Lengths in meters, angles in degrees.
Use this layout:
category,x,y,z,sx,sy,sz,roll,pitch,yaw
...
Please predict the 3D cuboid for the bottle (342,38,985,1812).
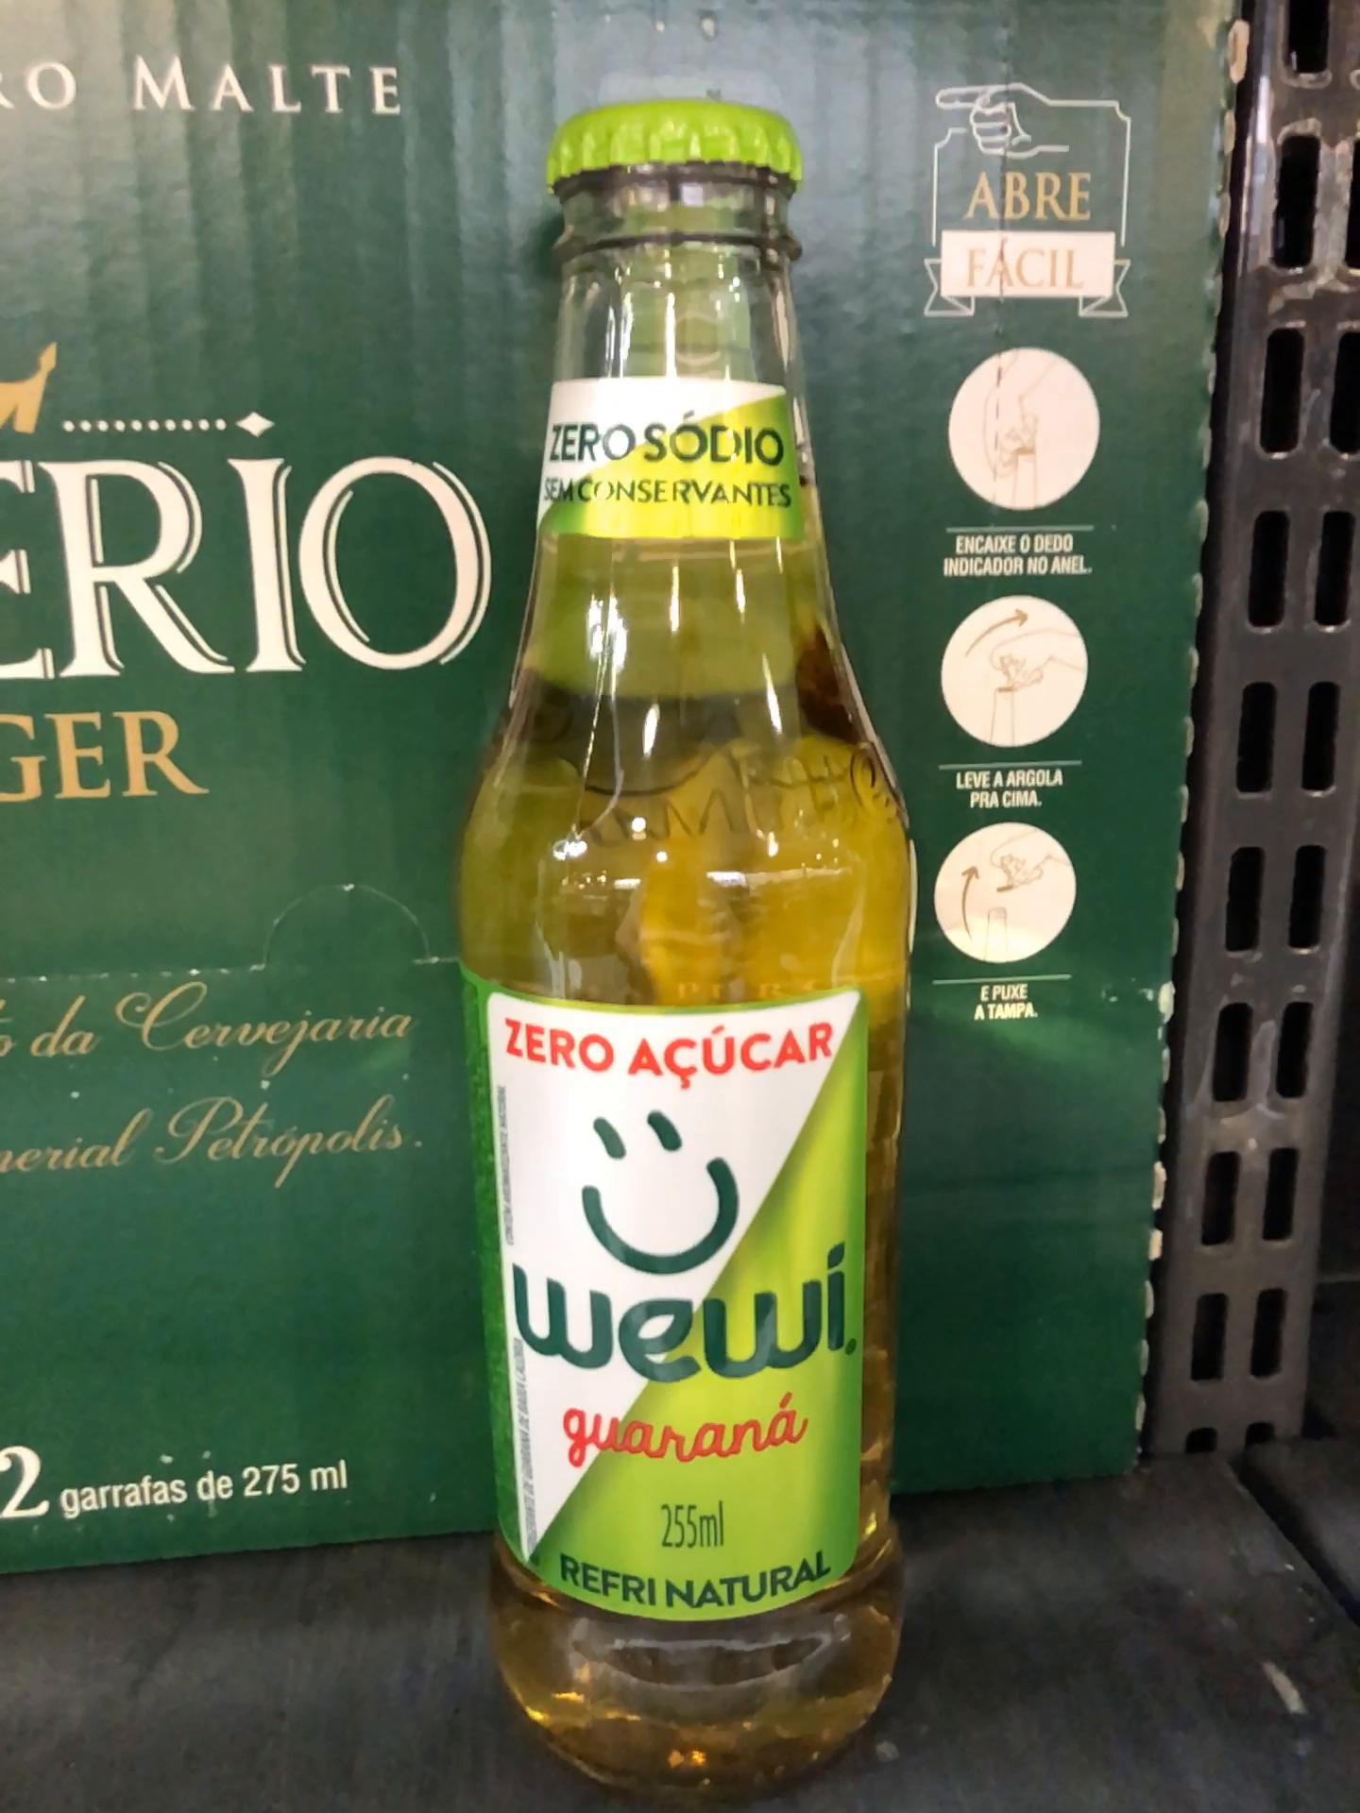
category,x,y,z,sx,sy,sz,roll,pitch,yaw
bottle,0.002,0.012,0.189,0.060,0.199,0.050,1,14,6
